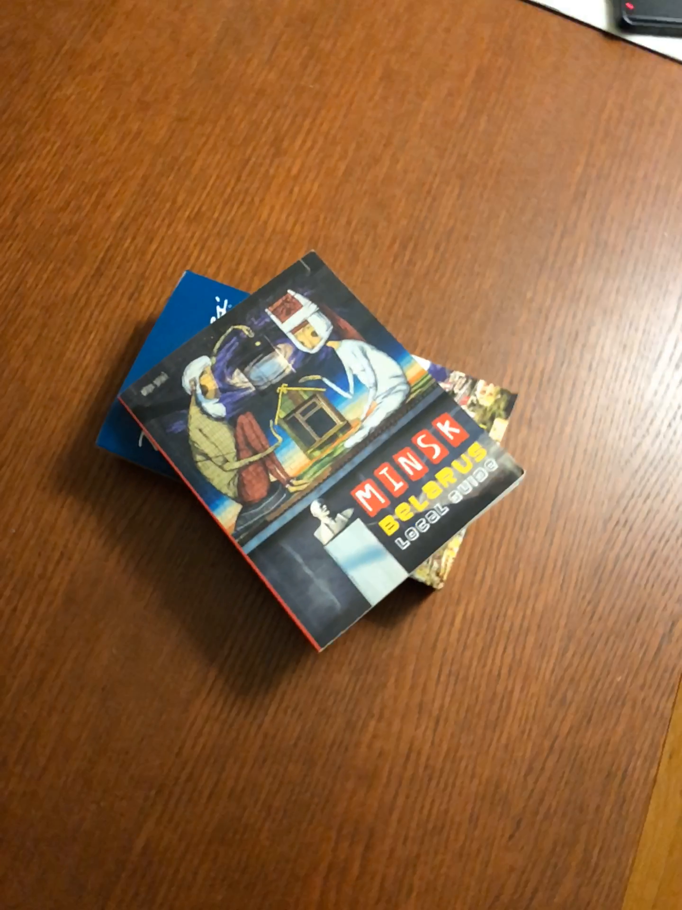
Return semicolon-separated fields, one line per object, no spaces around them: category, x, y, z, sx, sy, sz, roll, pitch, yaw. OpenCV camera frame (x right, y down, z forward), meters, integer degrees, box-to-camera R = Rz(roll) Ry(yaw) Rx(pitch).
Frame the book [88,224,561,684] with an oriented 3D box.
book;-0.011;-0.009;0.389;0.150;0.020;0.190;-40;75;-10

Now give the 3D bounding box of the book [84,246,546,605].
book;-0.013;-0.020;0.433;0.220;0.040;0.130;22;74;8
